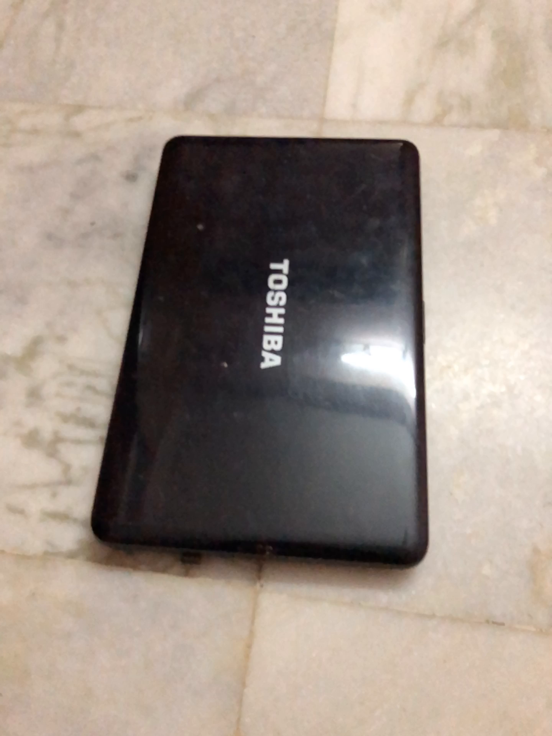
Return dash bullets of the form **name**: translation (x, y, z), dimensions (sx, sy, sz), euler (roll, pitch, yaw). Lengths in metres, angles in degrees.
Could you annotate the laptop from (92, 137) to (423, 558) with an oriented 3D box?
- **laptop**: translation (-0.001, -0.043, 0.488), dimensions (0.224, 0.004, 0.360), euler (3, 66, 4)
